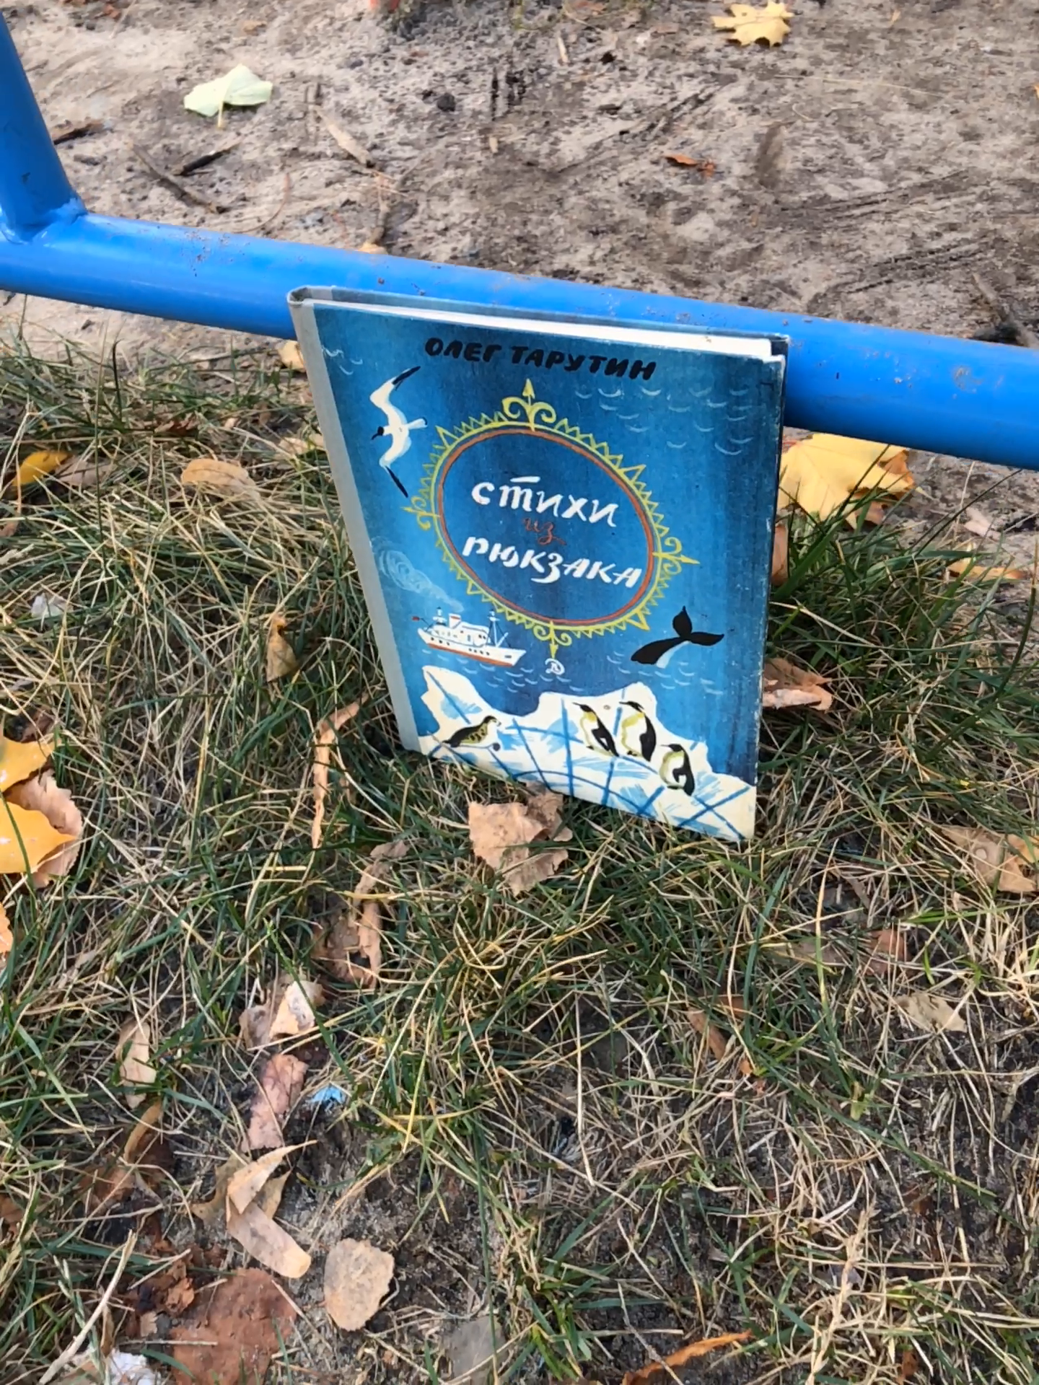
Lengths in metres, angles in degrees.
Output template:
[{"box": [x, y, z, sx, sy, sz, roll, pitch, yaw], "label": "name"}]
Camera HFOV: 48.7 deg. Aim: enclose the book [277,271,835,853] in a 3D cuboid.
[{"box": [0.010, -0.040, 0.430, 0.179, 0.209, 0.023, 13, 44, 17], "label": "book"}]
